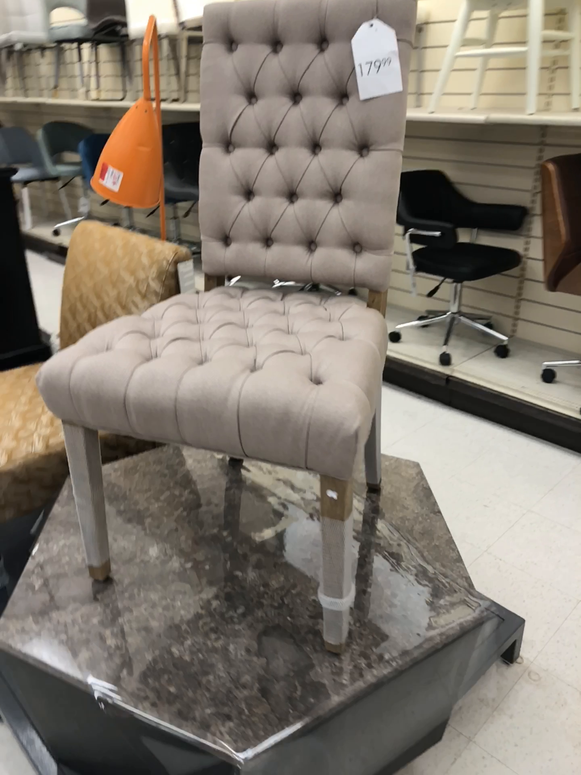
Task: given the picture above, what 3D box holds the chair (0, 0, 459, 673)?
[{"bbox_3d":[-0.067,-0.152,1.199,0.570,1.046,0.582,9,26,19],"label":"chair"}]
